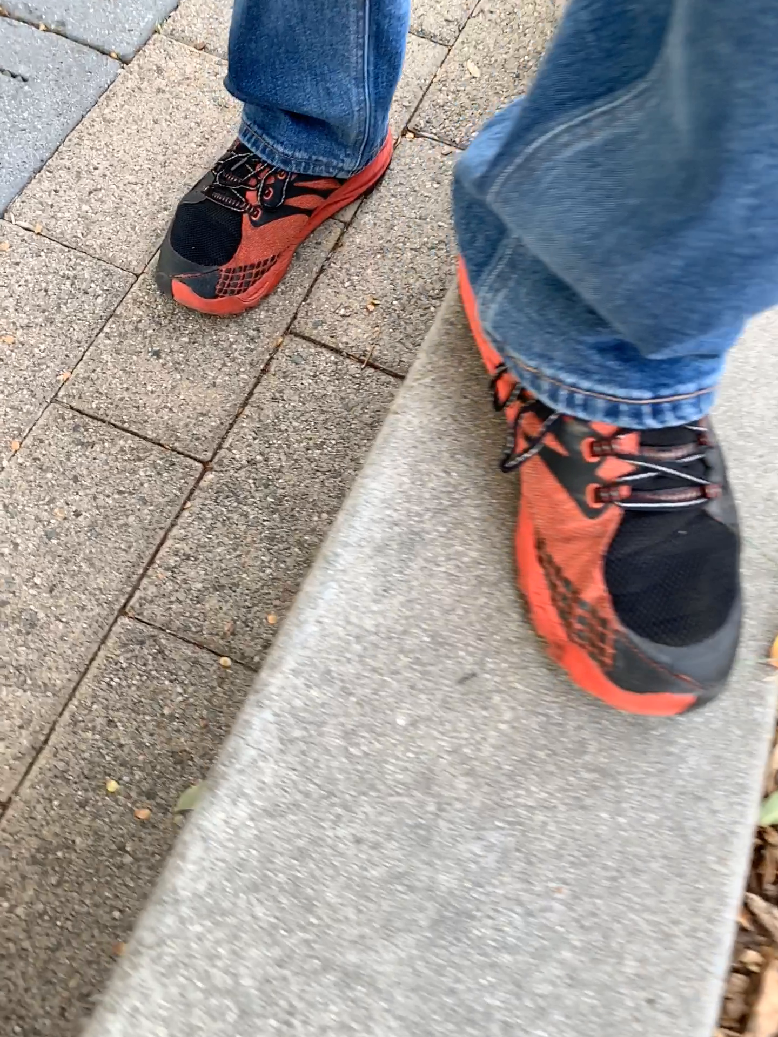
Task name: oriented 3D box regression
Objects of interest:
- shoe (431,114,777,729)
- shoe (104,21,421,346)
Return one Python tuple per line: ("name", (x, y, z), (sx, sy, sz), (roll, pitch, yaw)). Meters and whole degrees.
("shoe", (0.115, -0.063, 0.412), (0.122, 0.080, 0.310), (-6, 67, -9))
("shoe", (-0.108, -0.324, 0.753), (0.136, 0.080, 0.306), (30, 66, 6))
